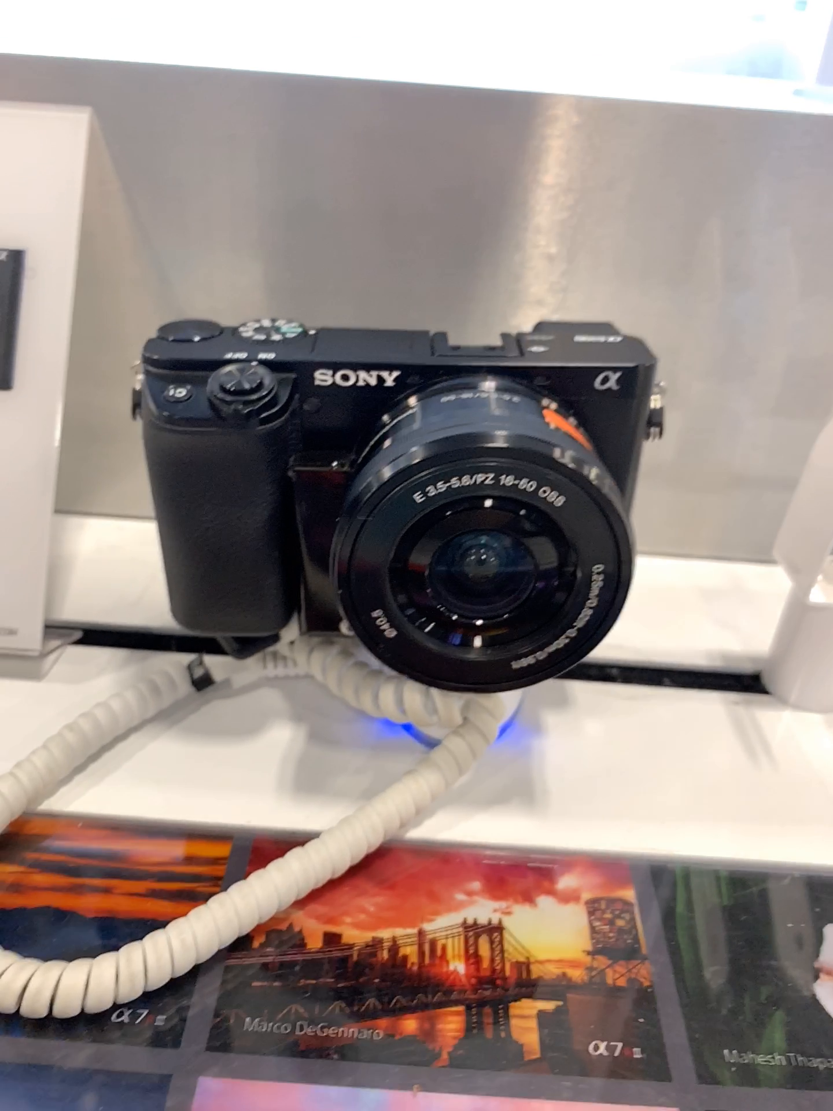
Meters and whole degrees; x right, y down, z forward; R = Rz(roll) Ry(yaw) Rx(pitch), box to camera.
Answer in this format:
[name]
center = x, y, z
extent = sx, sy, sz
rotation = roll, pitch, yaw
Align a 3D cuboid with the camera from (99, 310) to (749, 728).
[camera]
center = -0.002, -0.011, 0.210
extent = 0.120, 0.070, 0.070
rotation = 0, 34, -7
